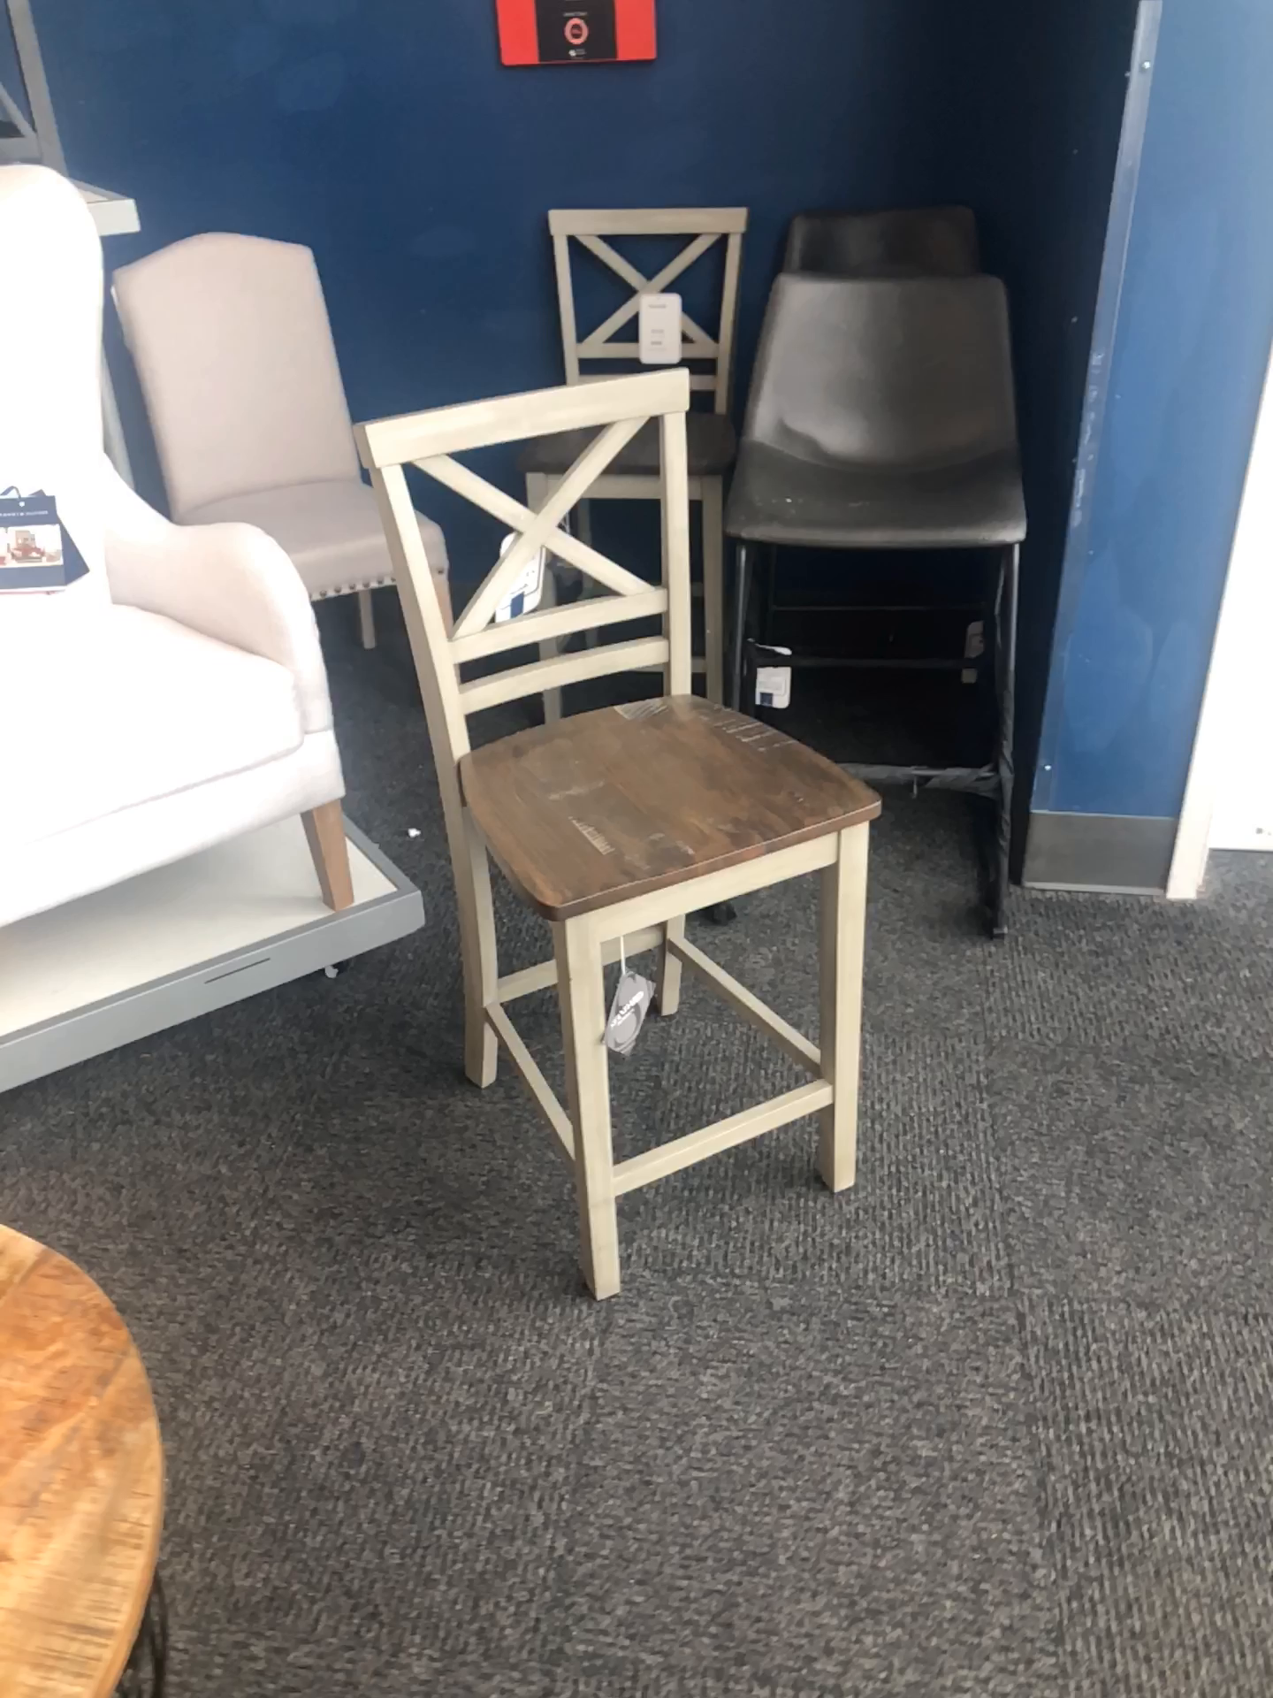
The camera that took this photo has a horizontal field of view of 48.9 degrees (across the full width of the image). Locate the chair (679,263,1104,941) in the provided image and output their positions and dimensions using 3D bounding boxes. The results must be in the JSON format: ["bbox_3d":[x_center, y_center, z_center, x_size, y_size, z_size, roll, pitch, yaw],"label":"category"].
[{"bbox_3d":[0.363,-0.393,2.266,0.539,0.934,0.537,0,32,5],"label":"chair"}]

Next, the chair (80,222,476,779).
[{"bbox_3d":[-0.730,-0.741,2.910,0.520,0.924,0.587,-17,35,-22],"label":"chair"}]

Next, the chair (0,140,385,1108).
[{"bbox_3d":[-0.896,-0.364,1.937,0.691,1.014,0.707,-25,38,-31],"label":"chair"}]

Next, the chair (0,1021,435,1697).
[{"bbox_3d":[-0.625,0.613,1.154,0.686,0.536,0.521,20,39,32],"label":"chair"}]

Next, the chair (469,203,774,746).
[{"bbox_3d":[0.009,-0.763,2.850,0.469,0.934,0.537,4,33,11],"label":"chair"}]

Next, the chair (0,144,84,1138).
[{"bbox_3d":[-0.999,-0.237,1.547,0.380,0.914,0.486,-25,38,-31],"label":"chair"}]

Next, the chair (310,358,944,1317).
[{"bbox_3d":[-0.017,-0.030,1.704,0.470,0.934,0.537,-17,35,-22],"label":"chair"}]
